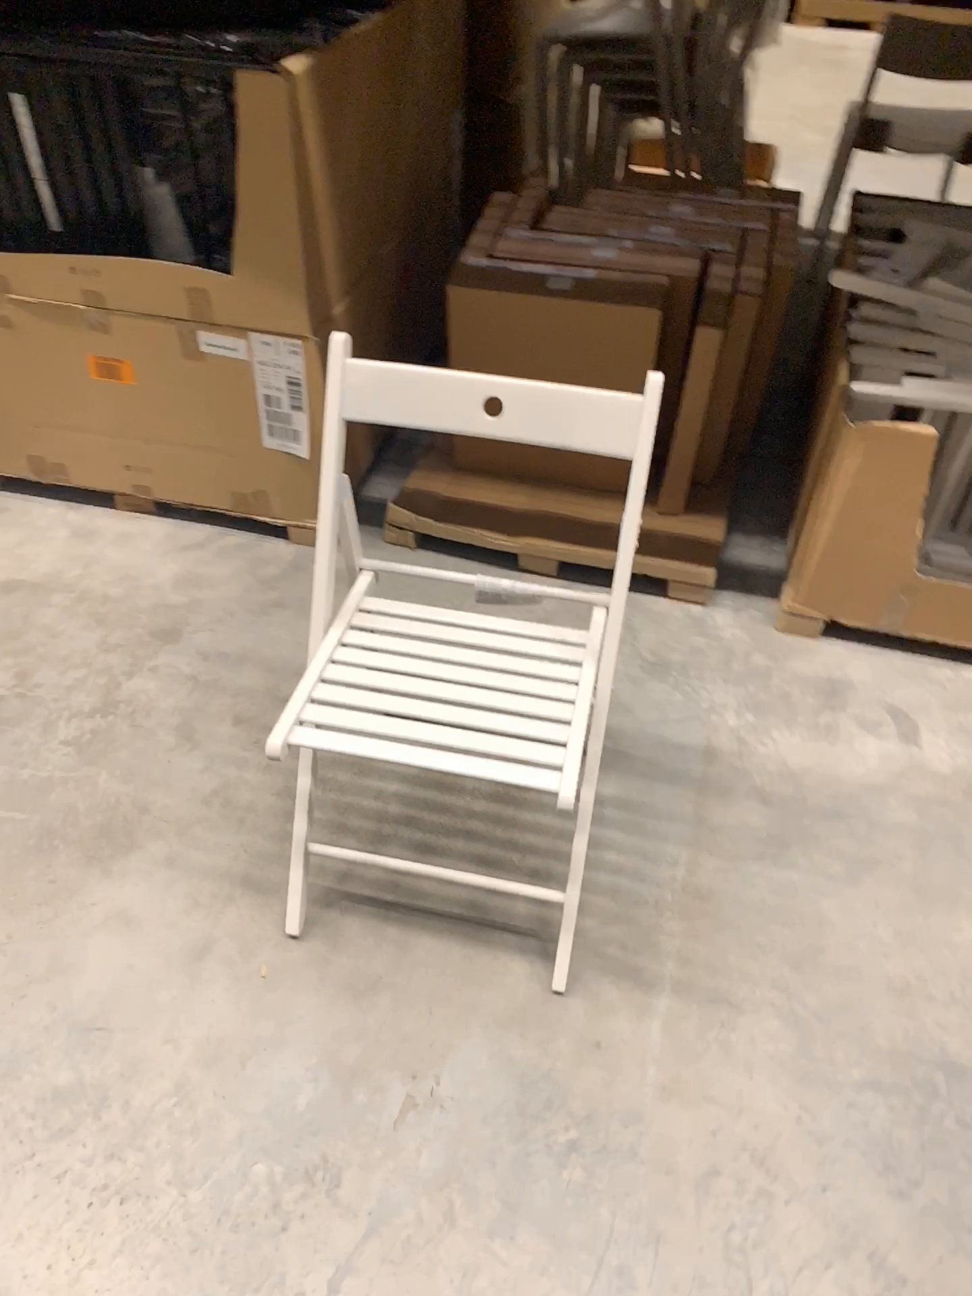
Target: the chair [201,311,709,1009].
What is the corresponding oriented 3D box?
[{"bbox_3d":[-0.005,0.029,1.277,0.430,0.707,0.472,10,43,9],"label":"chair"}]
